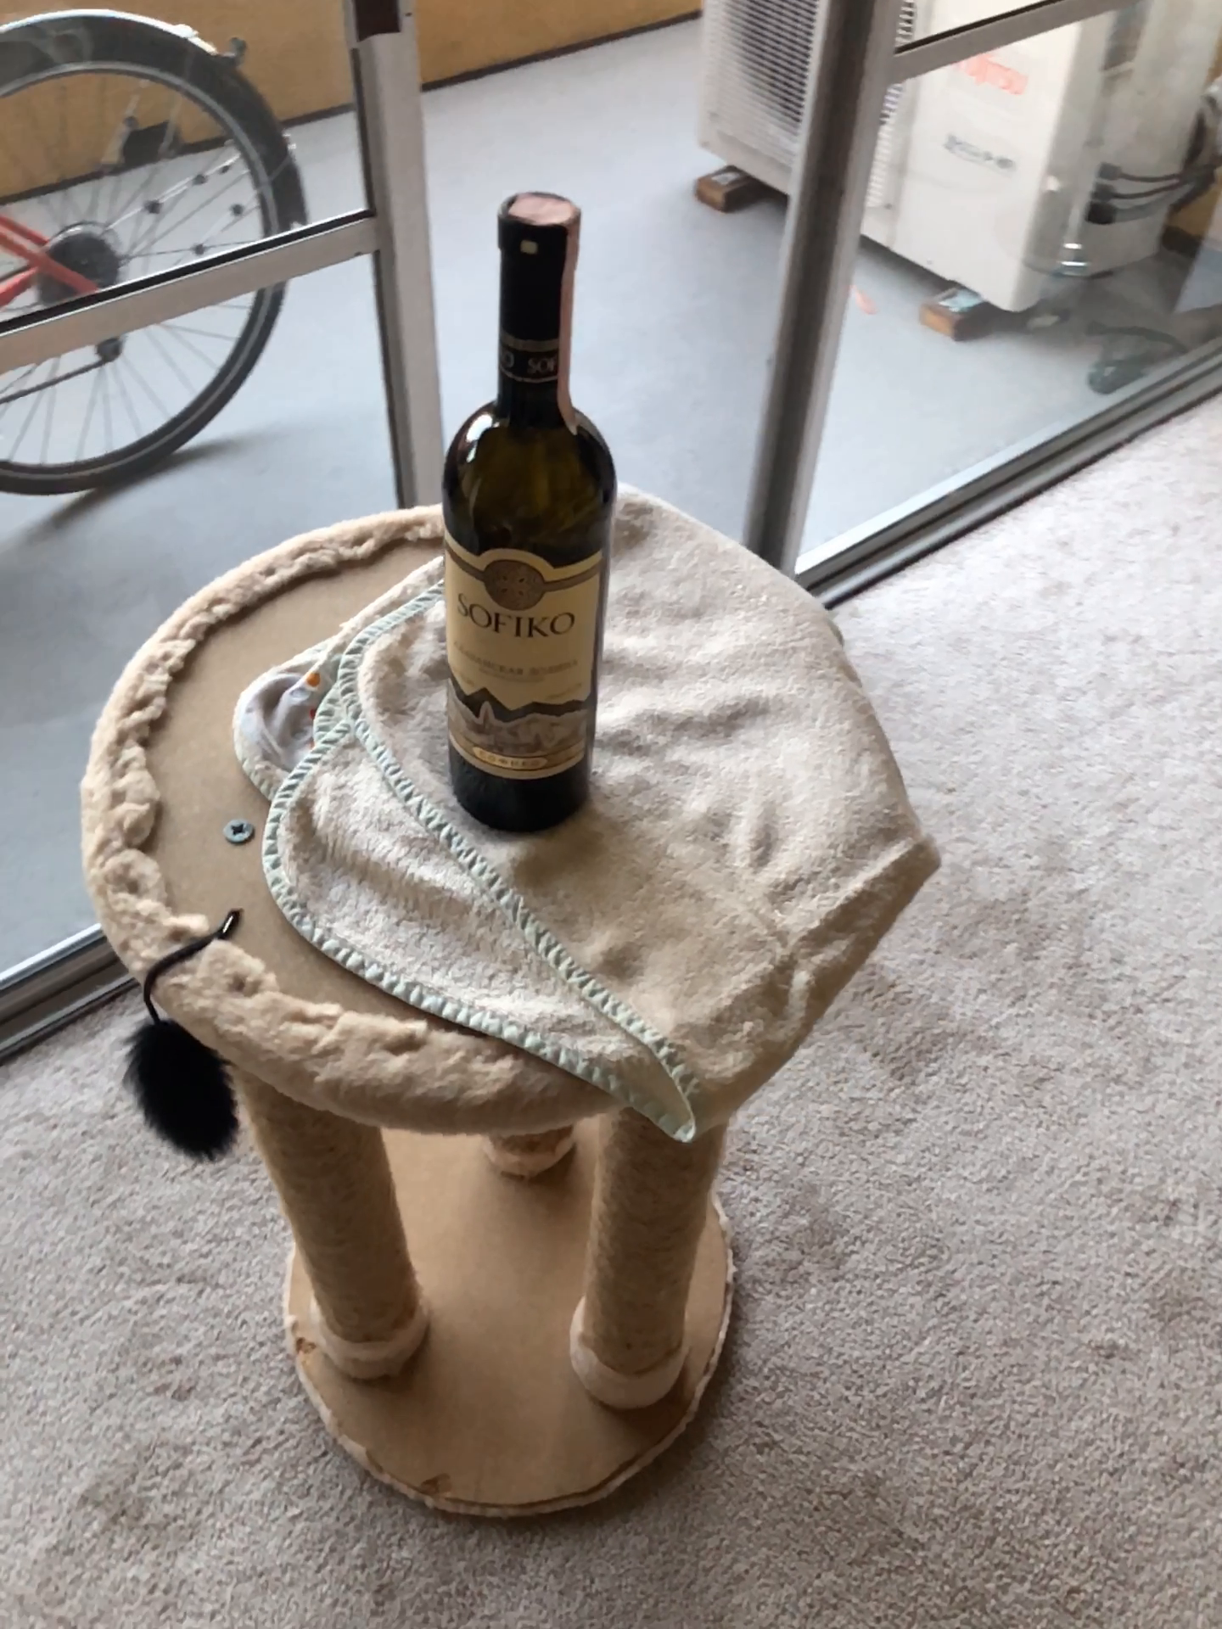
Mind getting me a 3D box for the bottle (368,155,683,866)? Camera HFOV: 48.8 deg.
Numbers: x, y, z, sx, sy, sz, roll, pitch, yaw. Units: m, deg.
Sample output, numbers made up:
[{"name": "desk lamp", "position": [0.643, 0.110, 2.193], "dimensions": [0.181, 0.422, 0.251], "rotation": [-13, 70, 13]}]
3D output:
[{"name": "bottle", "position": [-0.031, -0.101, 0.533], "dimensions": [0.080, 0.269, 0.080], "rotation": [2, 50, -2]}]
